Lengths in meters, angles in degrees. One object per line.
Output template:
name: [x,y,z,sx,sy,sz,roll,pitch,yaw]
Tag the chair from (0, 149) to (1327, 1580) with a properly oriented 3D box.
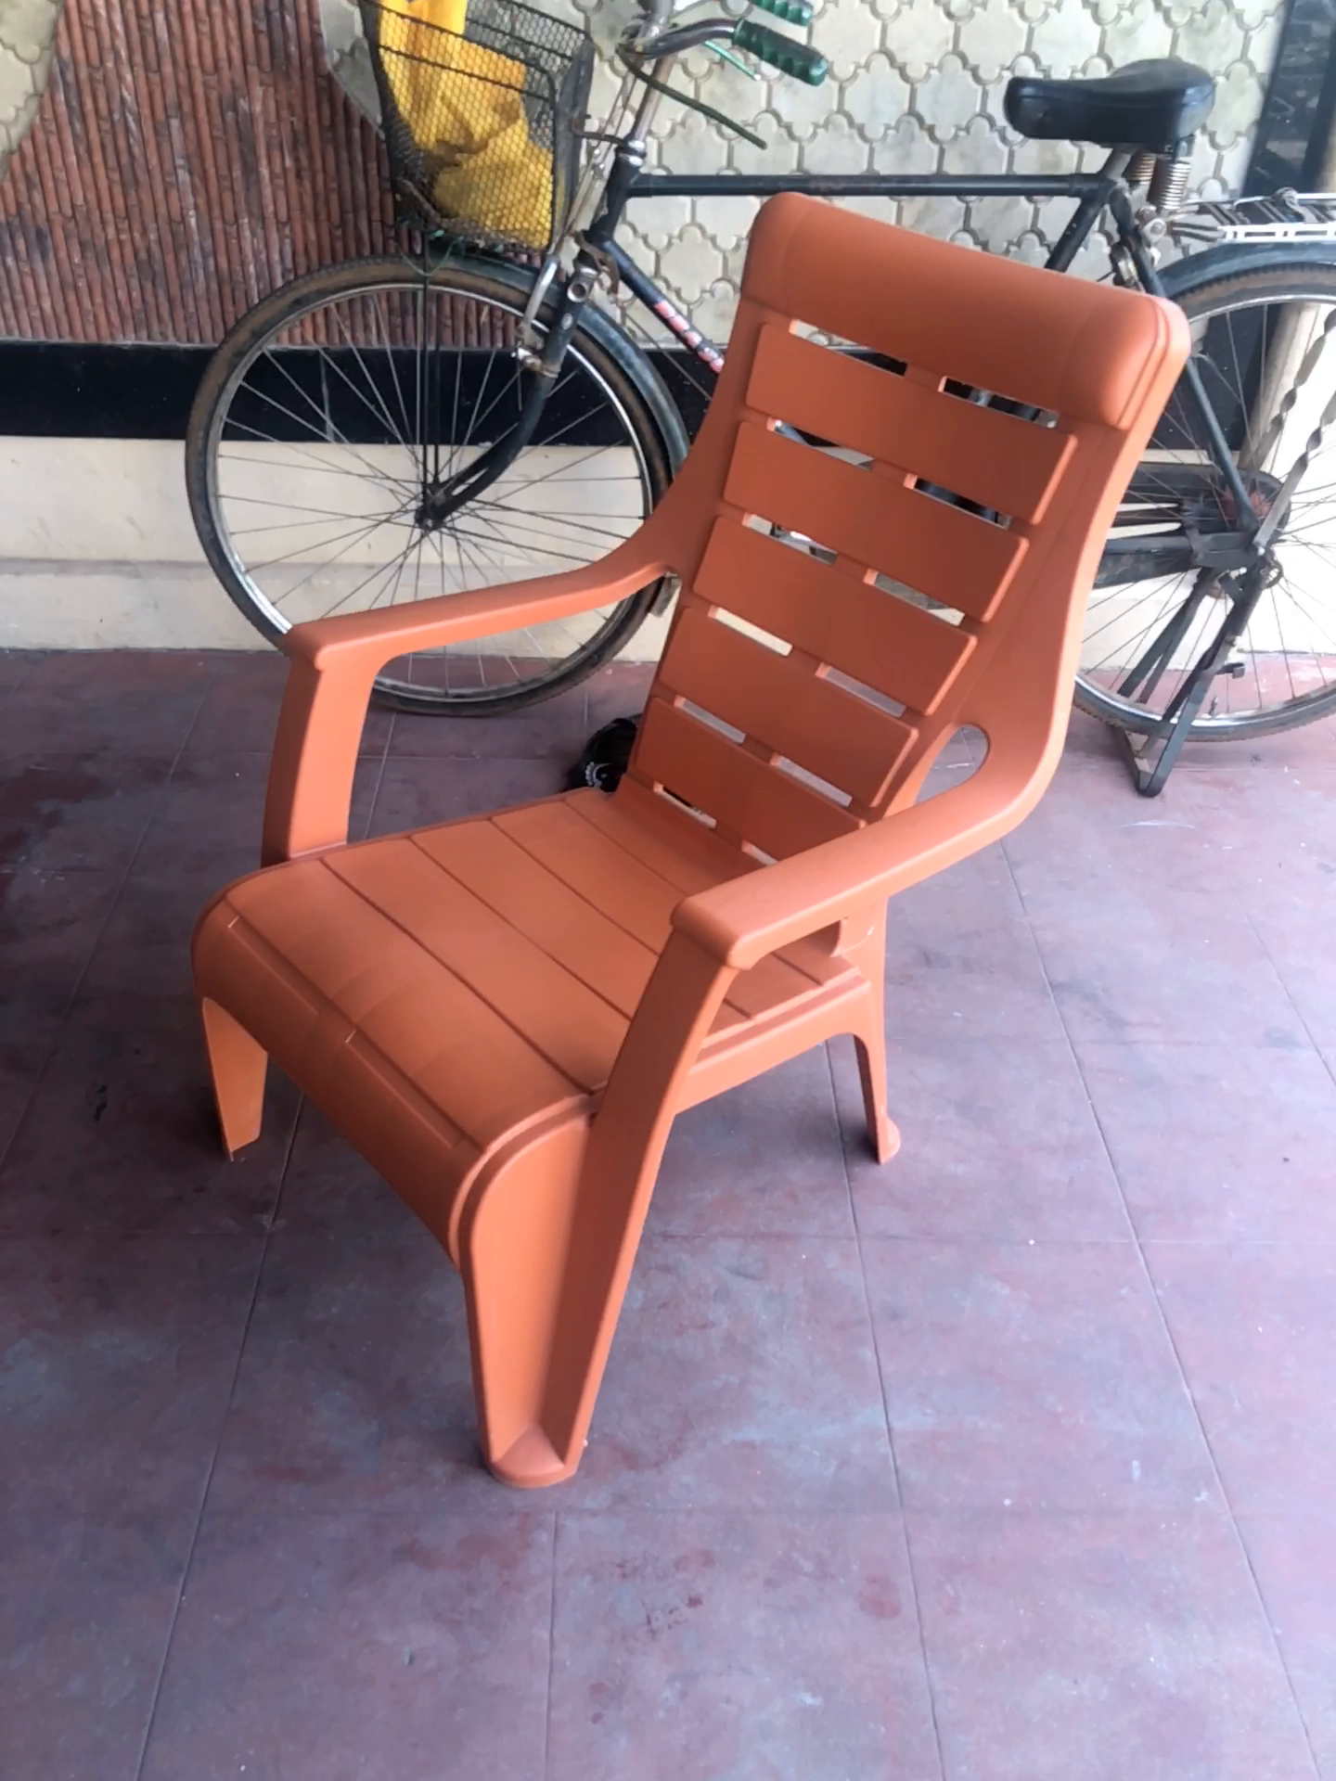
chair: [-0.054,-0.106,1.272,0.763,0.786,0.691,-28,46,-33]
